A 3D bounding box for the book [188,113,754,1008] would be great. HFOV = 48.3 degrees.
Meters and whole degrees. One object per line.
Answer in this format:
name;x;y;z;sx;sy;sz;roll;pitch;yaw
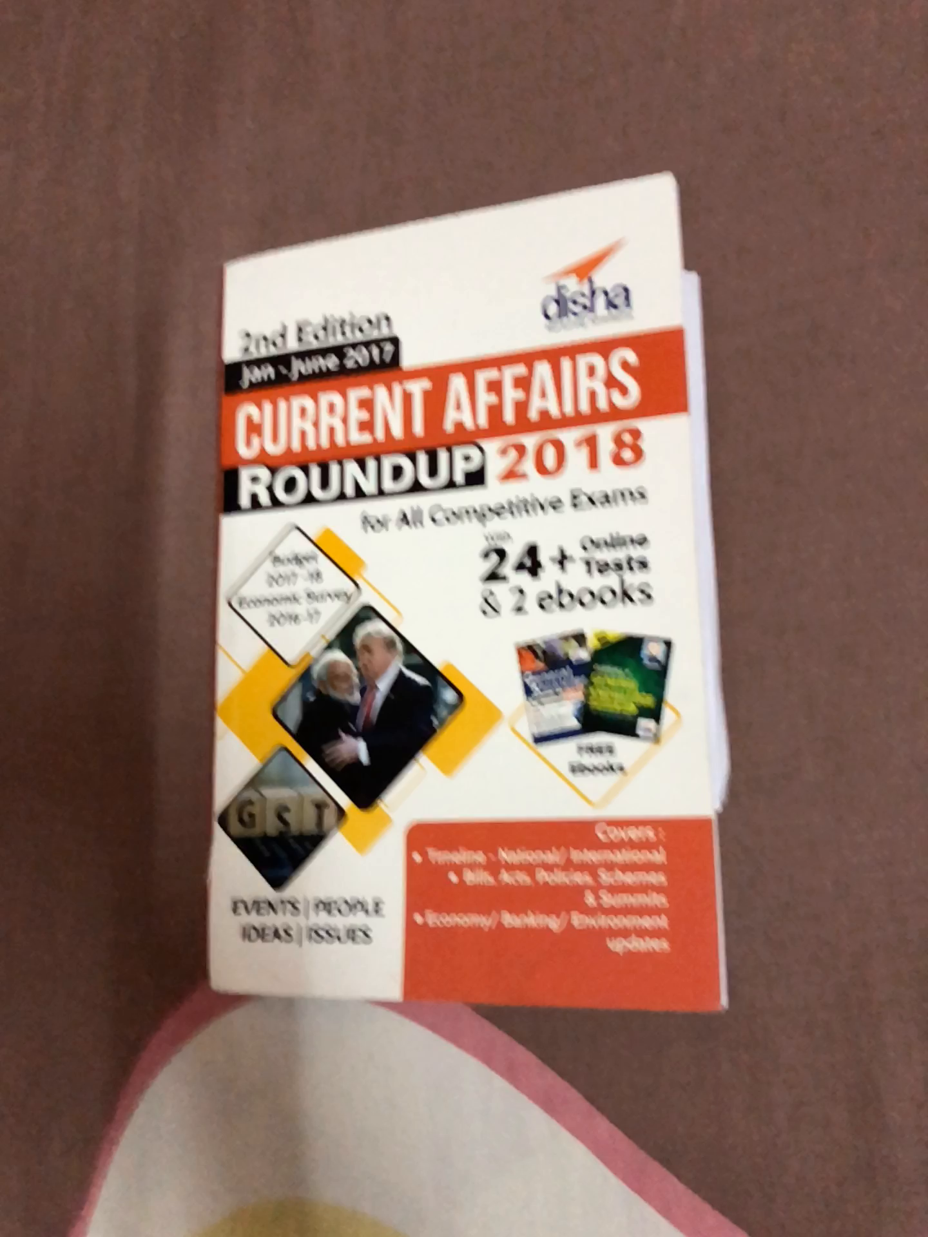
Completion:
book;0.000;-0.015;0.286;0.140;0.040;0.220;-4;79;17
